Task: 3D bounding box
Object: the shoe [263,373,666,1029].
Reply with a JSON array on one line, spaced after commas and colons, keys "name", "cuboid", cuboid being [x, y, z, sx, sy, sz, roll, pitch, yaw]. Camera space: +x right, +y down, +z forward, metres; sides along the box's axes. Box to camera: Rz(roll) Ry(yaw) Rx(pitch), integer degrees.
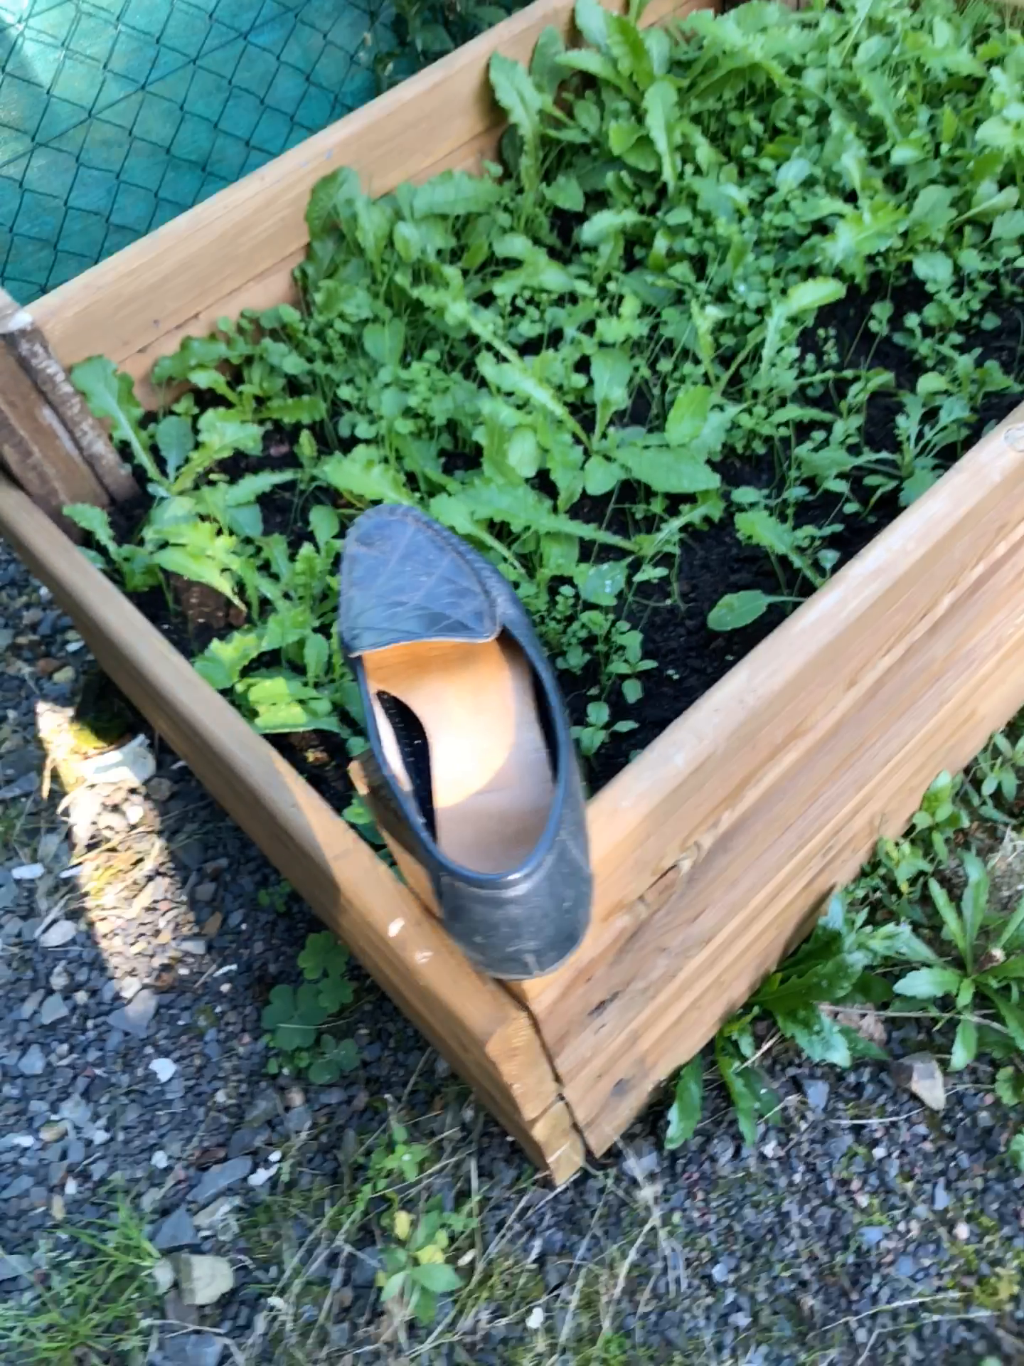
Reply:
[{"name": "shoe", "cuboid": [-0.026, -0.003, 0.491, 0.100, 0.090, 0.261, -17, 57, -3]}]
